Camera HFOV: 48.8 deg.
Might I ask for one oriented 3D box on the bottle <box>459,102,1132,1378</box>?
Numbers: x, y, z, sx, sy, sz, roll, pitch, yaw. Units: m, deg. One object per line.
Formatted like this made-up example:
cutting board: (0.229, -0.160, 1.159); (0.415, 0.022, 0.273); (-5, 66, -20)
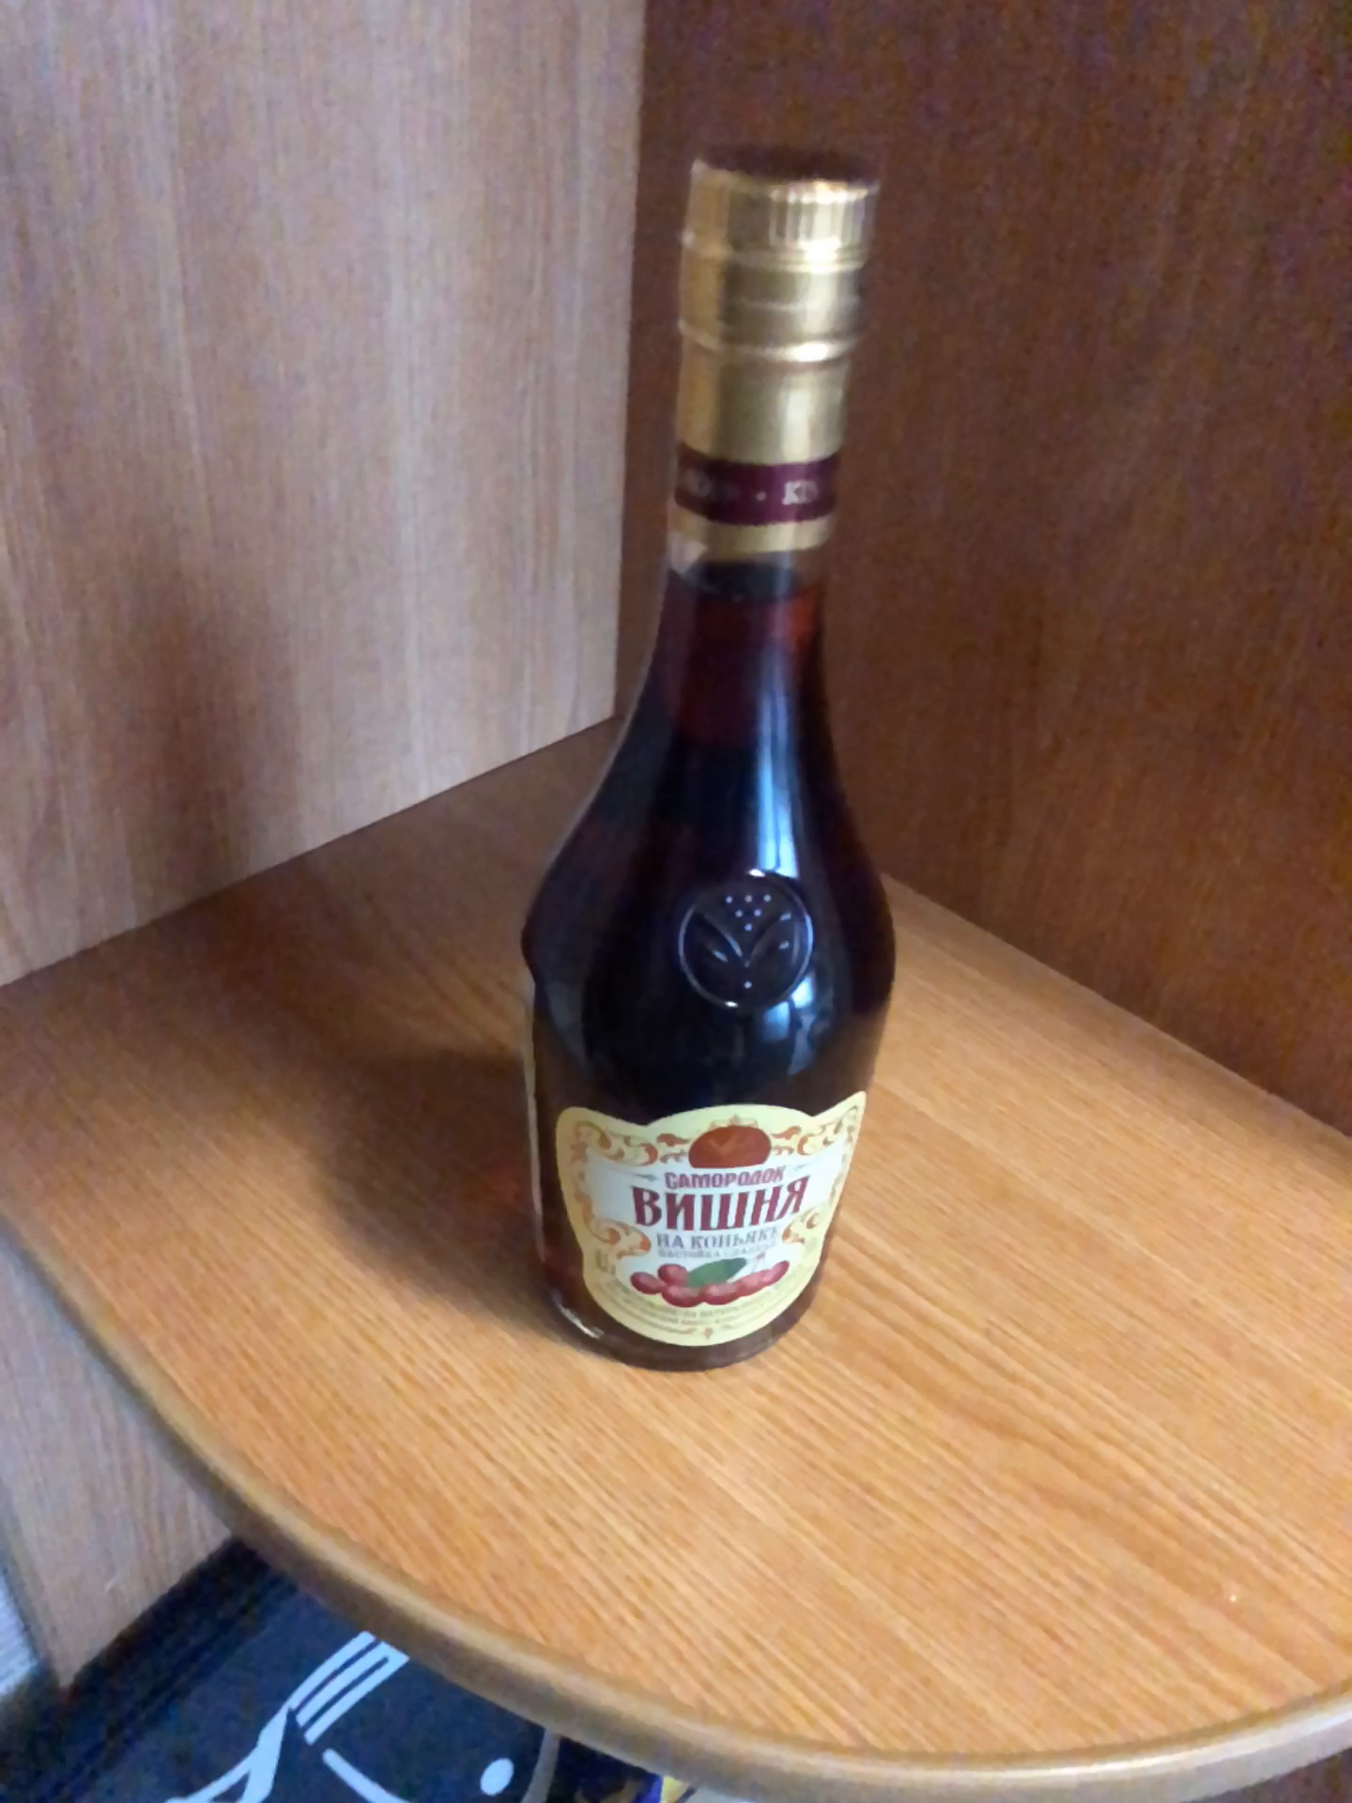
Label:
bottle: (0.006, -0.015, 0.301); (0.090, 0.244, 0.080); (0, 36, -6)
